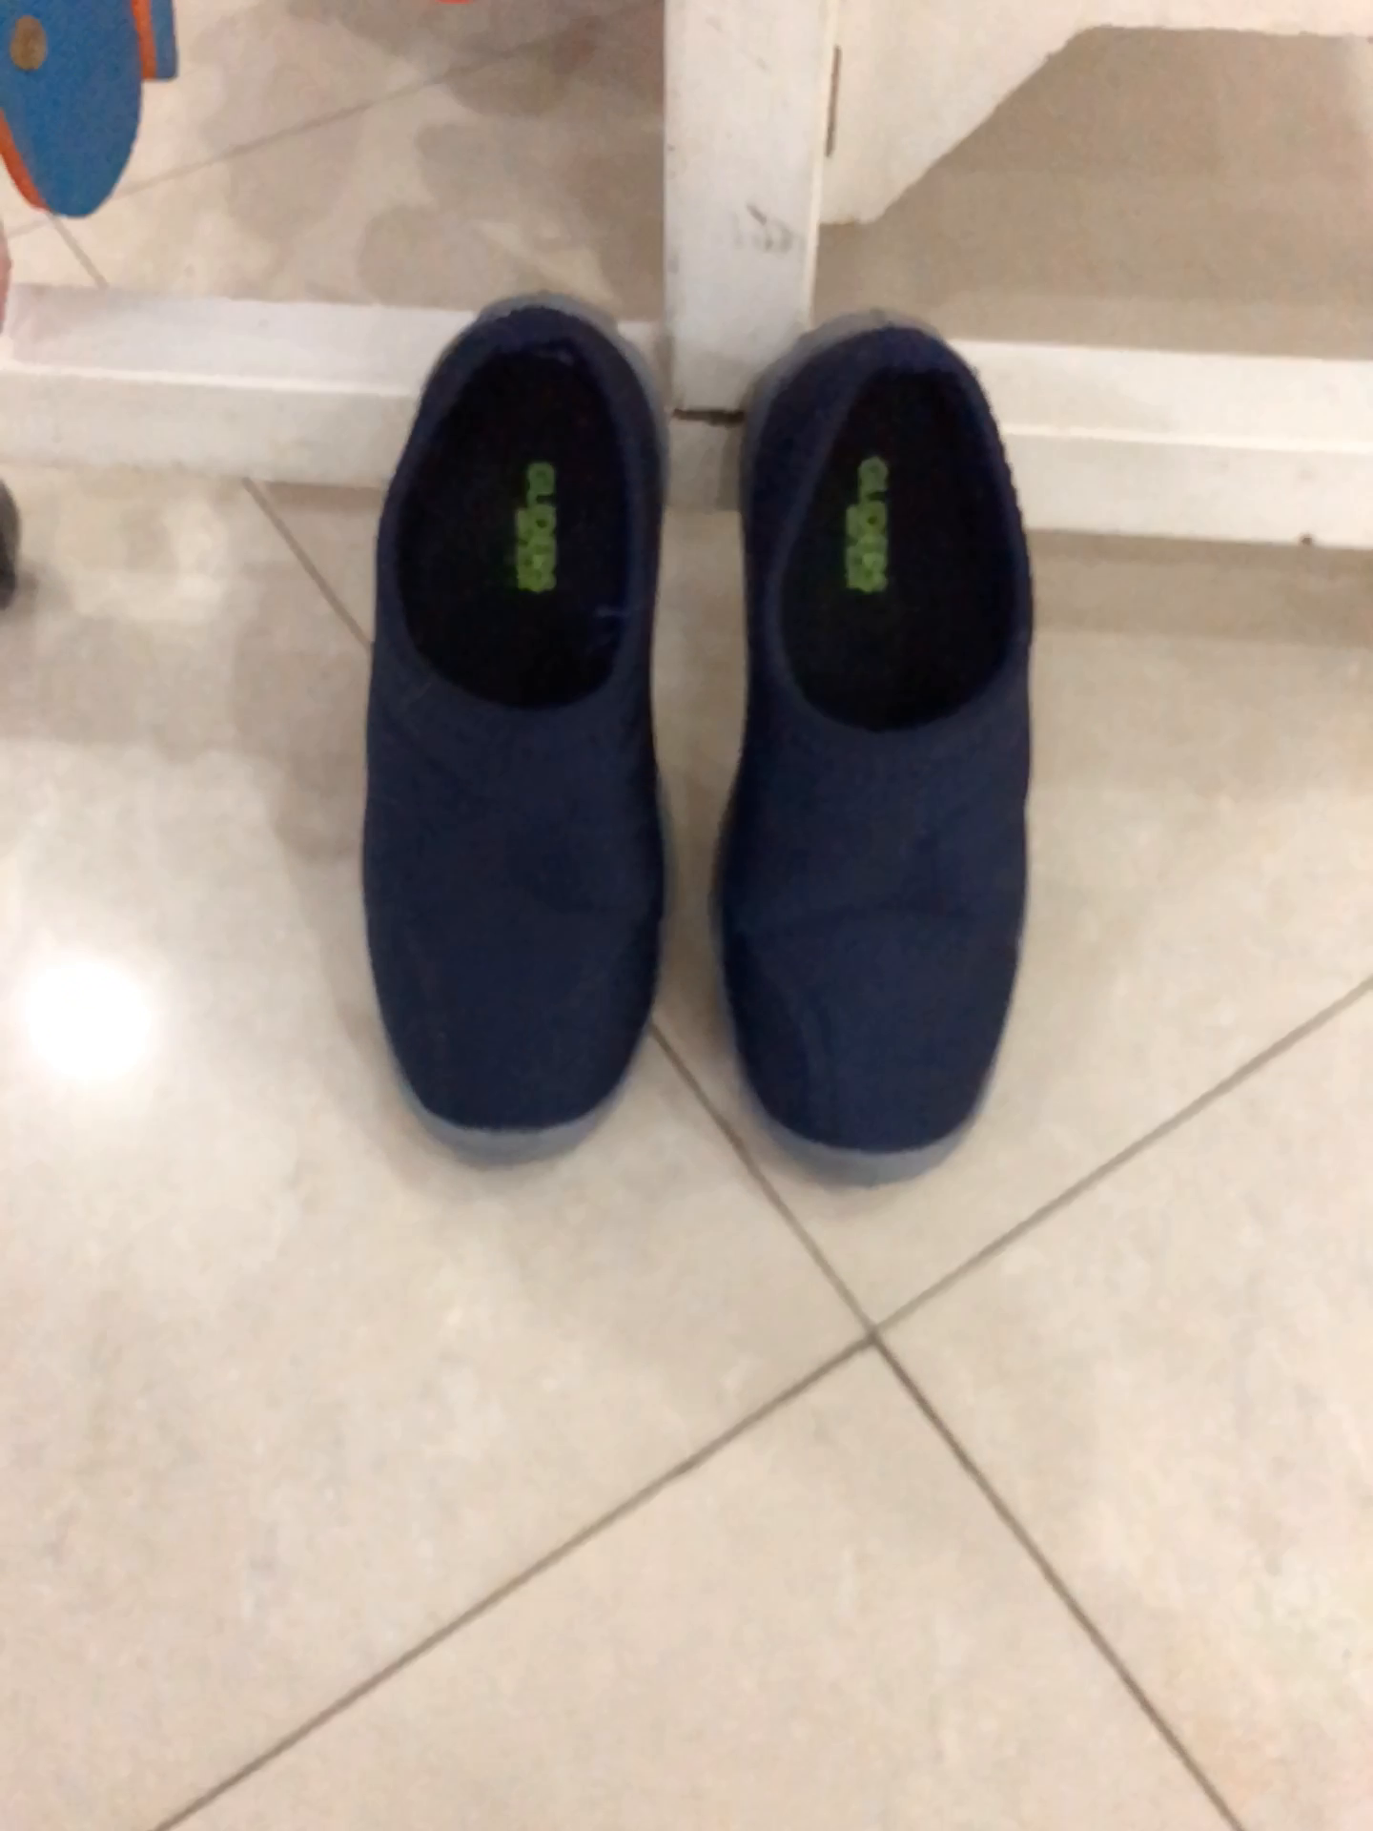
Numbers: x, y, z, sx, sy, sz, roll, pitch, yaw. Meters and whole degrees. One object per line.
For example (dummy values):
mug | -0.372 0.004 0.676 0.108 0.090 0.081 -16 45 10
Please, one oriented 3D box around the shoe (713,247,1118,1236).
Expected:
shoe | 0.111 -0.083 0.860 0.186 0.208 0.489 0 85 0

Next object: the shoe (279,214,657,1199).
shoe | -0.106 -0.095 0.824 0.160 0.200 0.460 2 86 -3
